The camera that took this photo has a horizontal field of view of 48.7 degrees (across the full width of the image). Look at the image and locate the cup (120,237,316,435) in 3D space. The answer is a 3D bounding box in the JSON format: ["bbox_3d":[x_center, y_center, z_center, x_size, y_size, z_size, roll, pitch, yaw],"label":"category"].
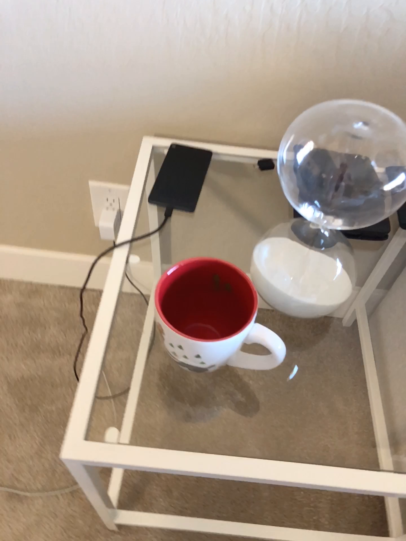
[{"bbox_3d":[0.012,0.065,0.452,0.150,0.110,0.100,27,55,15],"label":"cup"}]
